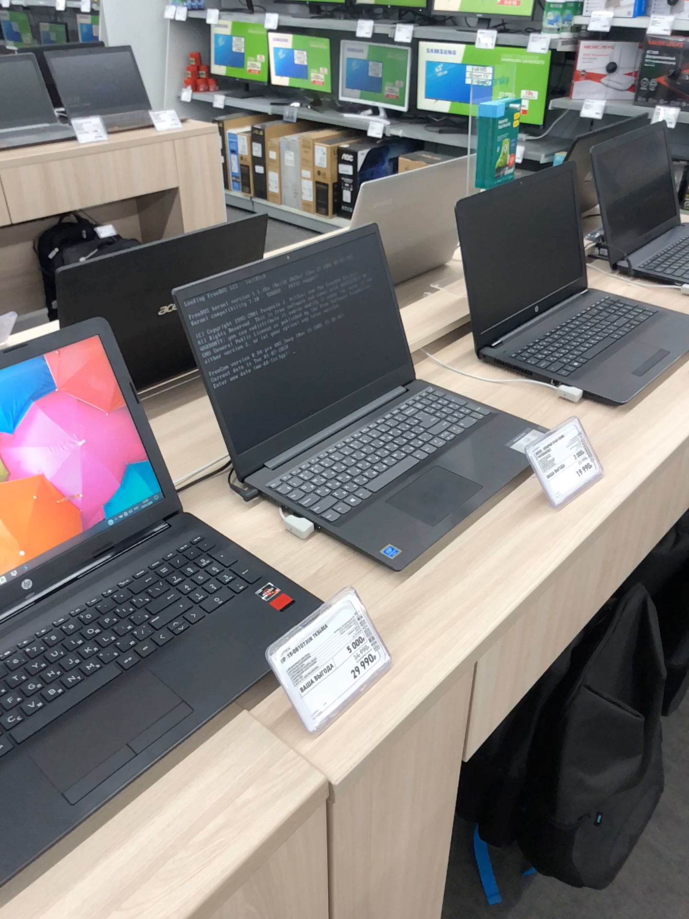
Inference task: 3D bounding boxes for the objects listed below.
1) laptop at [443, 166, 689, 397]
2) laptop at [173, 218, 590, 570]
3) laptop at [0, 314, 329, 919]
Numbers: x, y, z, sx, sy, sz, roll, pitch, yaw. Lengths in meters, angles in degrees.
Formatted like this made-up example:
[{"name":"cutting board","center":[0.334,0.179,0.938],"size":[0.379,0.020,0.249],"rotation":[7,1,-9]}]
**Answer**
[{"name":"laptop","center":[0.389,-0.295,1.177],"size":[0.297,0.208,0.338],"rotation":[26,41,33]},{"name":"laptop","center":[0.046,-0.109,0.902],"size":[0.322,0.210,0.341],"rotation":[27,42,33]},{"name":"laptop","center":[-0.246,0.072,0.623],"size":[0.321,0.202,0.352],"rotation":[27,41,34]}]
